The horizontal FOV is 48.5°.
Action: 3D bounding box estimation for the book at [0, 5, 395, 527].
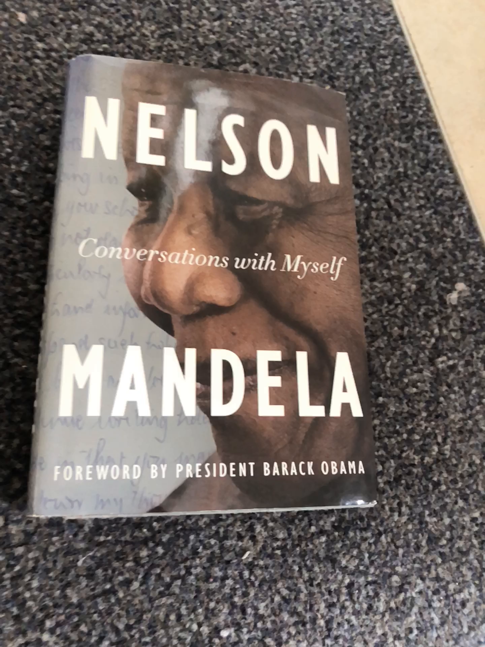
[{"bbox_3d":[-0.019,-0.031,0.285,0.170,0.050,0.250,4,74,-14],"label":"book"}]
